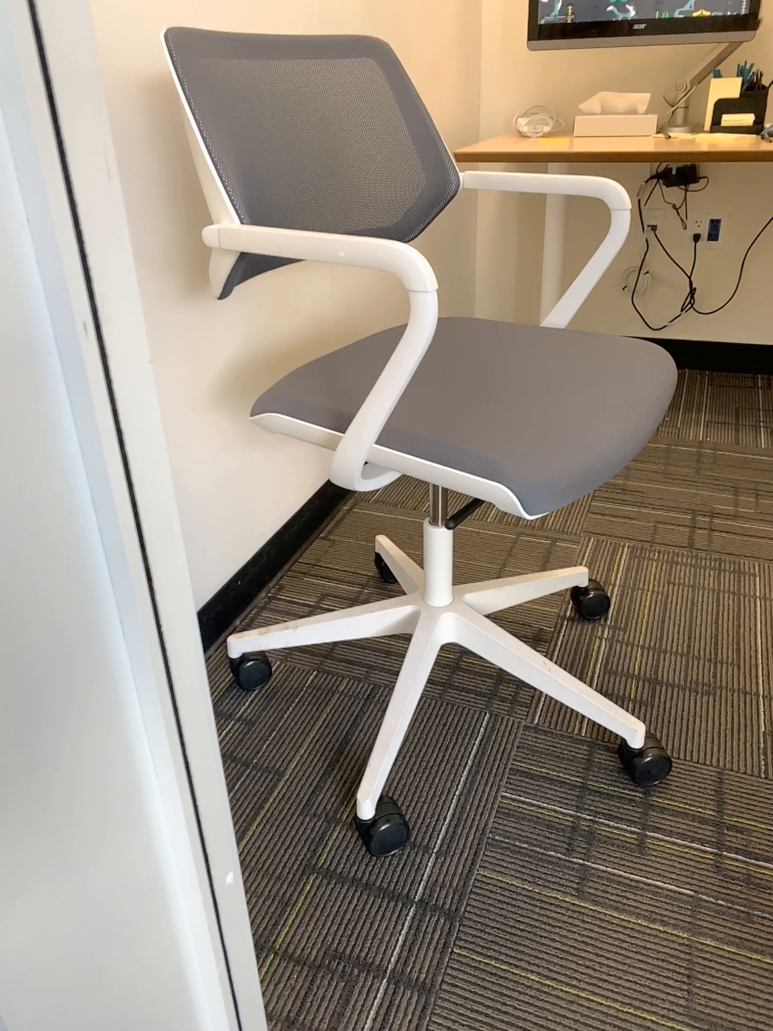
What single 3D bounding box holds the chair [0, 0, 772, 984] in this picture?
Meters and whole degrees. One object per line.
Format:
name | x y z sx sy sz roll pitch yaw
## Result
chair | 0.077 -0.159 1.094 0.802 0.914 0.803 12 32 23
